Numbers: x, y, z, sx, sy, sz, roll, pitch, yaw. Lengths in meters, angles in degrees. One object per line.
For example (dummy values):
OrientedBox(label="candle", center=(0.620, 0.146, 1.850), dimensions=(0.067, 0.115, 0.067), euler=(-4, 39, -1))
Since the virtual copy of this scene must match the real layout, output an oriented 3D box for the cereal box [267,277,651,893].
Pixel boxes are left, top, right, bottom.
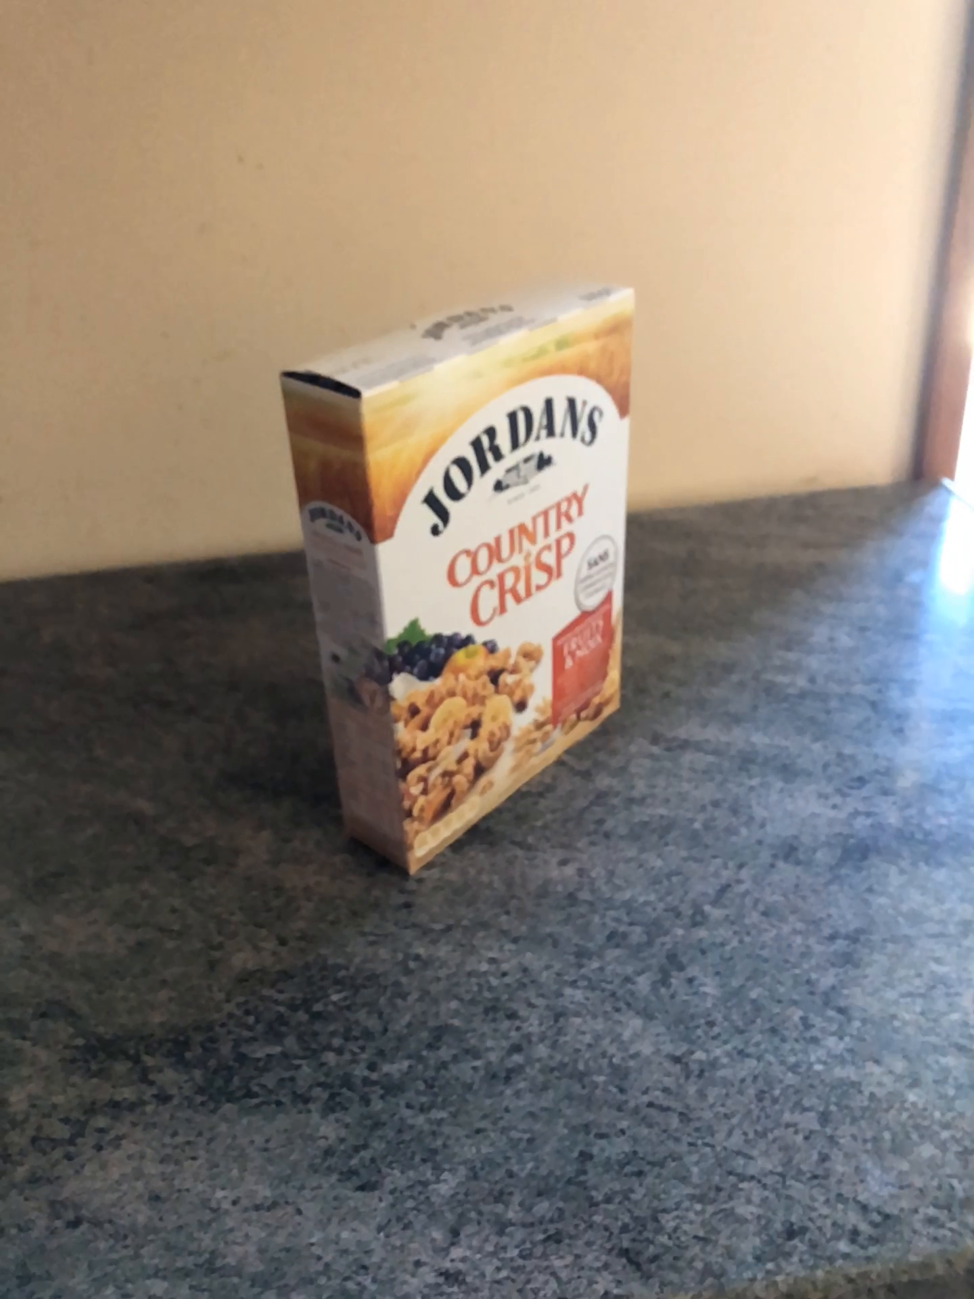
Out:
OrientedBox(label="cereal box", center=(-0.002, -0.037, 0.542), dimensions=(0.060, 0.248, 0.191), euler=(22, 38, 33))
